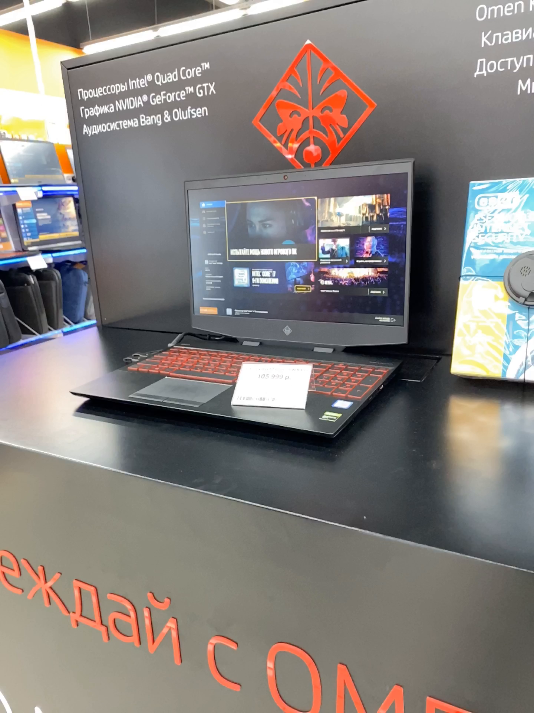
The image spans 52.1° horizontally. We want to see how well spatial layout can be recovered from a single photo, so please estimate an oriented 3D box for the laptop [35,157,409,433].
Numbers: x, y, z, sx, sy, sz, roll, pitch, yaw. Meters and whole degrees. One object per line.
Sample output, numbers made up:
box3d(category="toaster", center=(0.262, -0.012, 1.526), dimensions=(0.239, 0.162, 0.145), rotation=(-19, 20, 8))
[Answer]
box3d(category="laptop", center=(-0.034, -0.106, 0.700), dimensions=(0.359, 0.247, 0.302), rotation=(5, 18, 28))
